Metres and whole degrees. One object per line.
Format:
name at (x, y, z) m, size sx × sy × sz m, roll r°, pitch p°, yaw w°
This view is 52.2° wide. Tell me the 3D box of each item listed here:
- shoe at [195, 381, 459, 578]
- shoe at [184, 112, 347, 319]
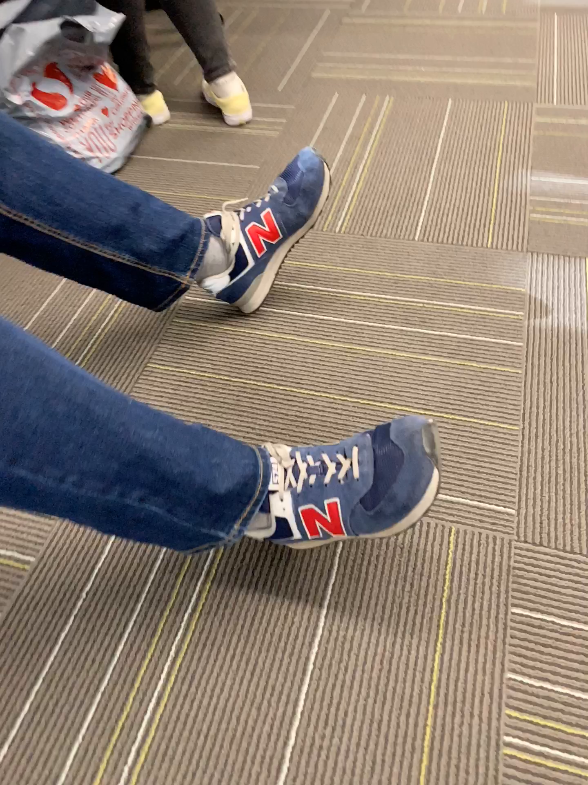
shoe at (0.019, 0.119, 0.692) m, size 0.135 × 0.296 × 0.121 m, roll 17°, pitch 56°, yaw -33°
shoe at (-0.058, -0.283, 0.997) m, size 0.095 × 0.302 × 0.115 m, roll 13°, pitch 37°, yaw -39°
